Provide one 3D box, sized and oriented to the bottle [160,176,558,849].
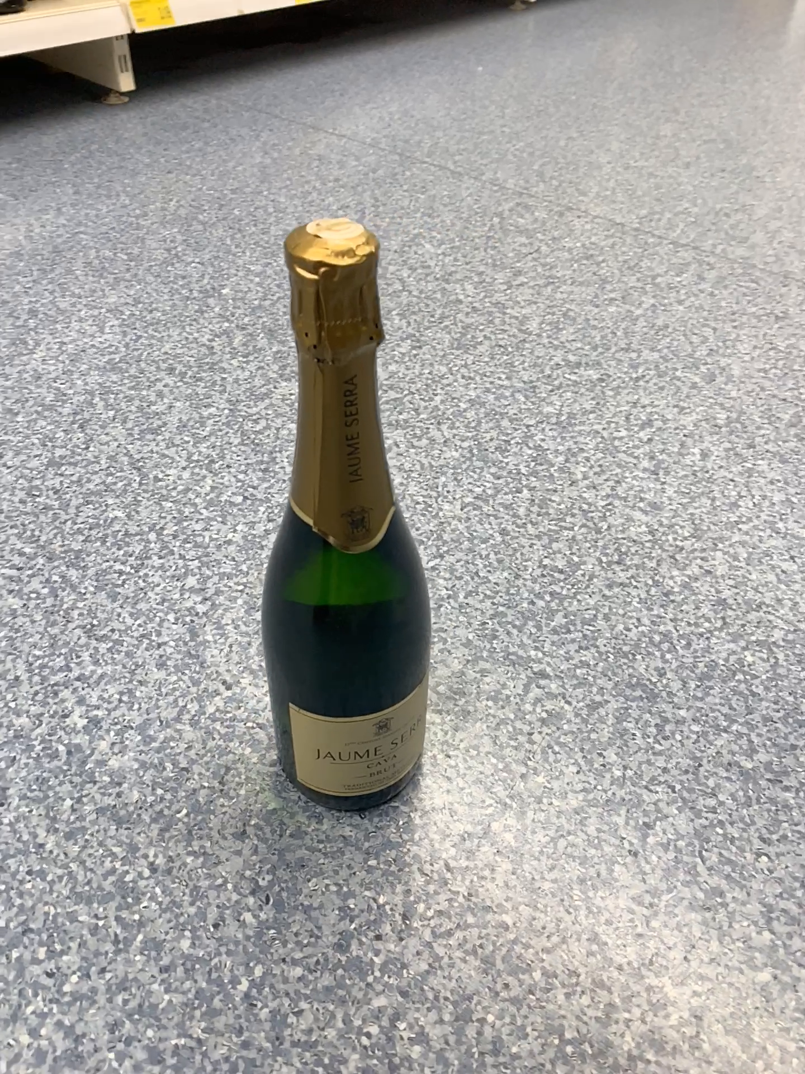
[{"bbox_3d":[-0.022,0.007,0.385,0.104,0.291,0.105,1,42,-1],"label":"bottle"}]
